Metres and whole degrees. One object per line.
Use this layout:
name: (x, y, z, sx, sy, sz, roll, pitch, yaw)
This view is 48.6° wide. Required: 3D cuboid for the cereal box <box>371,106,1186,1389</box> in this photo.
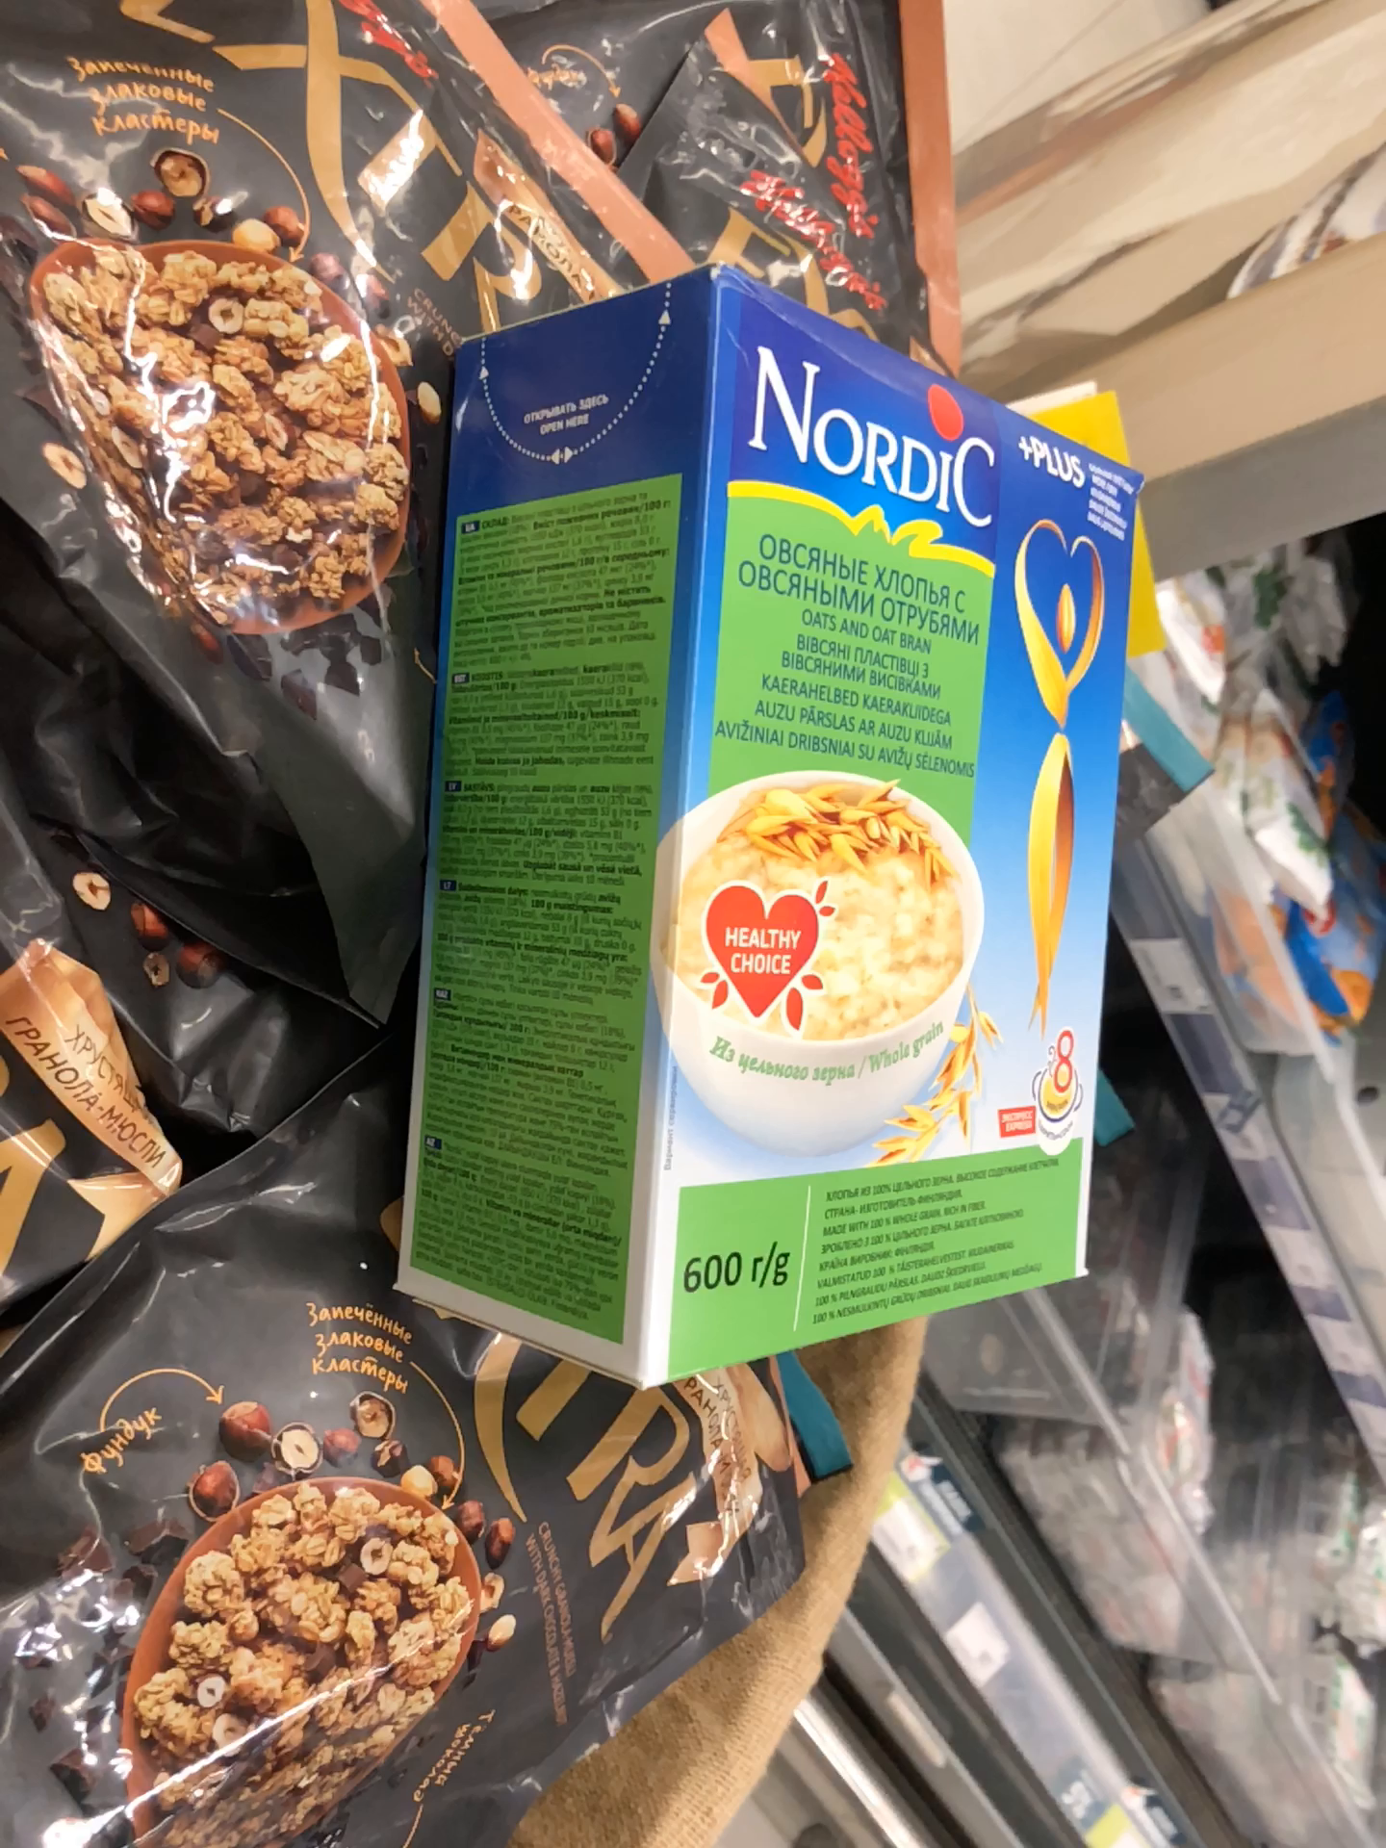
cereal box: (0.026, -0.028, 0.337, 0.161, 0.080, 0.210, 2, 92, -45)
